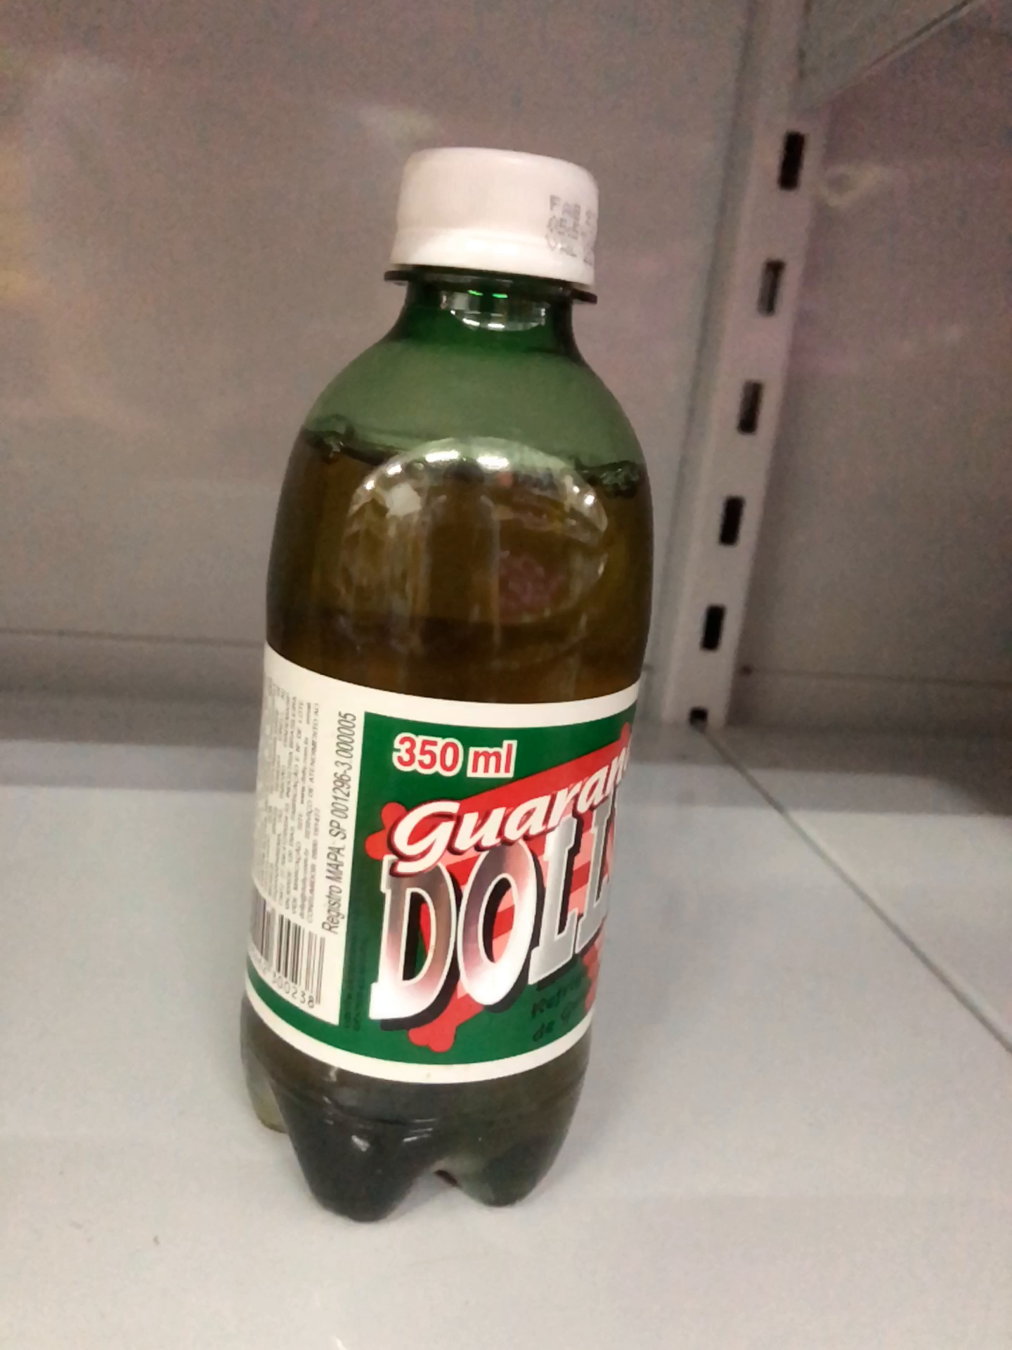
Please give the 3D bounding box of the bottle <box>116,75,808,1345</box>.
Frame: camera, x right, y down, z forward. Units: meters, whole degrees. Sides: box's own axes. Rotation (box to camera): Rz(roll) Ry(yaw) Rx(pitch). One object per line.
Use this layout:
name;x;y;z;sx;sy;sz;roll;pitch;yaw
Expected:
bottle;-0.015;0.004;0.202;0.080;0.179;0.070;-8;22;-40
